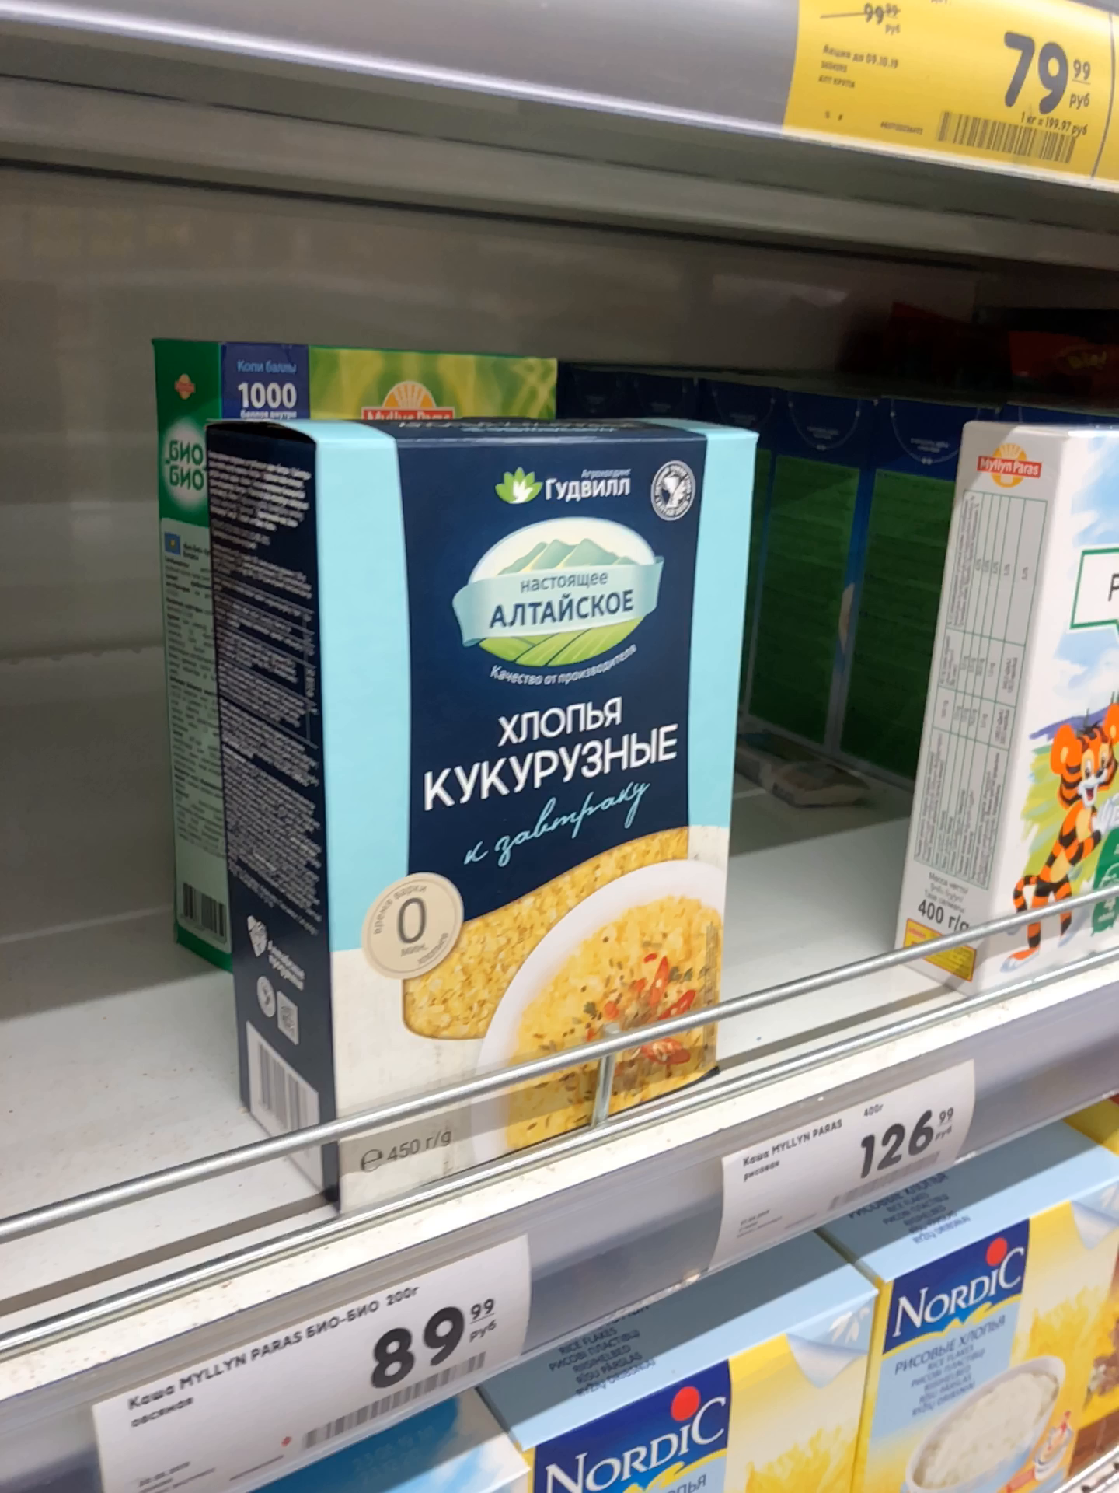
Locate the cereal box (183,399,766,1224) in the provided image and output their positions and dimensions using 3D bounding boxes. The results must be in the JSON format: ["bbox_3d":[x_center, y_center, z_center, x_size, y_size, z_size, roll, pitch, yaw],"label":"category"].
[{"bbox_3d":[-0.022,0.008,0.332,0.130,0.189,0.060,-10,21,-34],"label":"cereal box"}]
